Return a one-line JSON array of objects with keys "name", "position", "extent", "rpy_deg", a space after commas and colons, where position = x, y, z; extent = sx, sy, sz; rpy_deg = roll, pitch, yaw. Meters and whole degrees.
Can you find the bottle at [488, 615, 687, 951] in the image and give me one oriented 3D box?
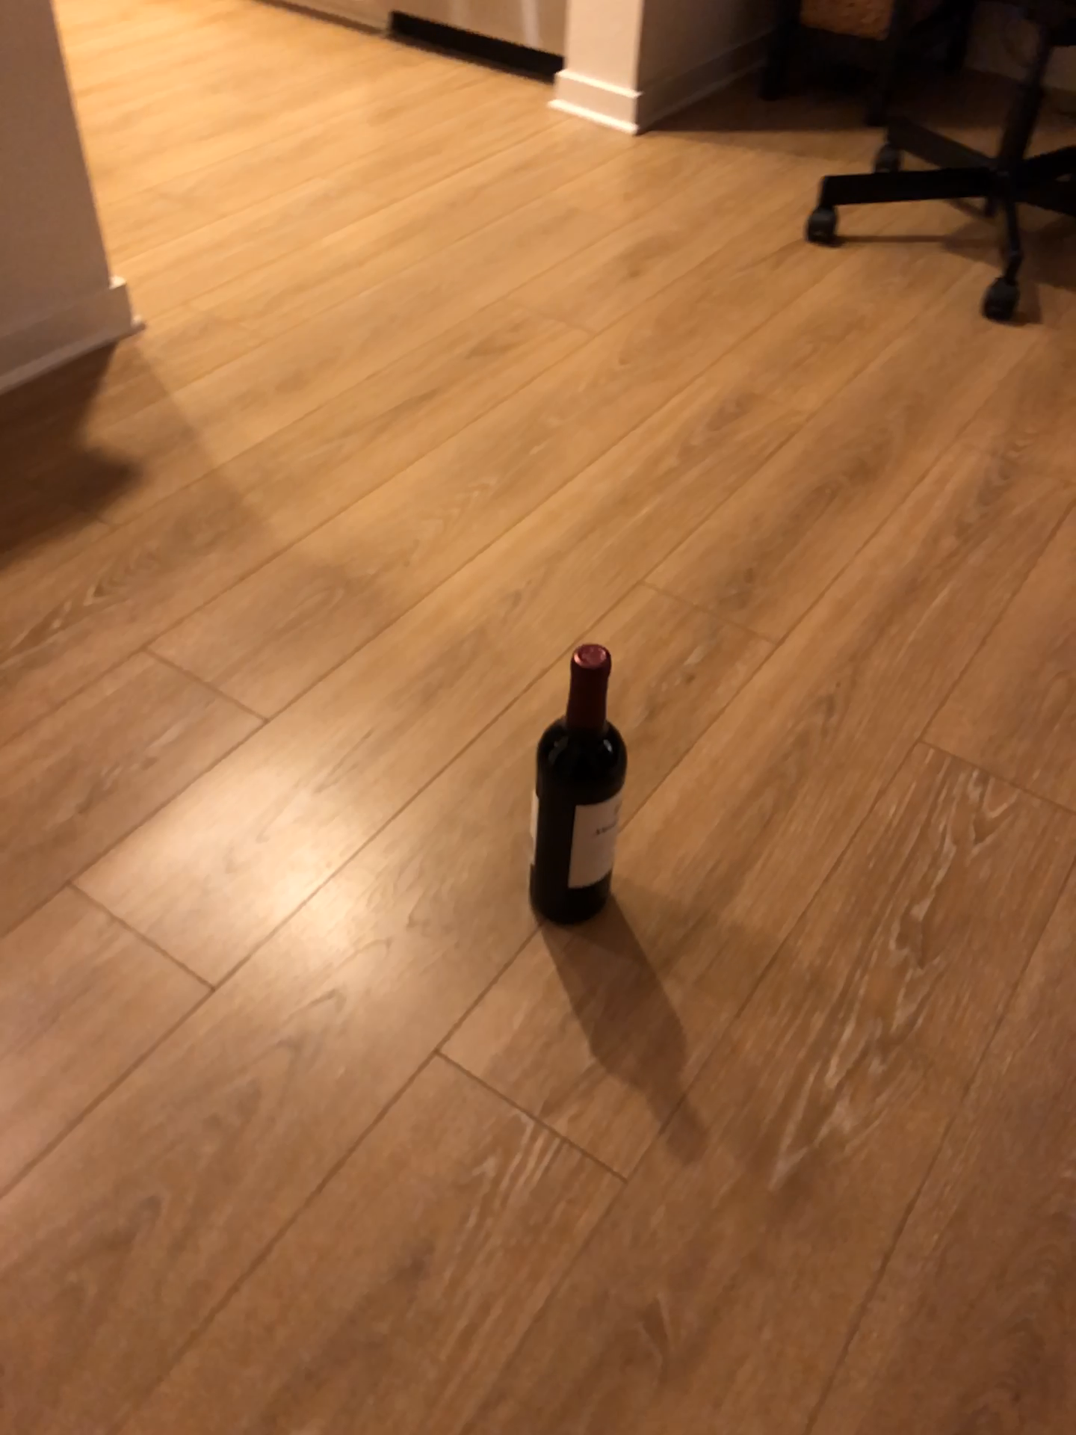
[{"name": "bottle", "position": [0.034, 0.060, 1.000], "extent": [0.110, 0.259, 0.100], "rpy_deg": [-28, 53, -28]}]
